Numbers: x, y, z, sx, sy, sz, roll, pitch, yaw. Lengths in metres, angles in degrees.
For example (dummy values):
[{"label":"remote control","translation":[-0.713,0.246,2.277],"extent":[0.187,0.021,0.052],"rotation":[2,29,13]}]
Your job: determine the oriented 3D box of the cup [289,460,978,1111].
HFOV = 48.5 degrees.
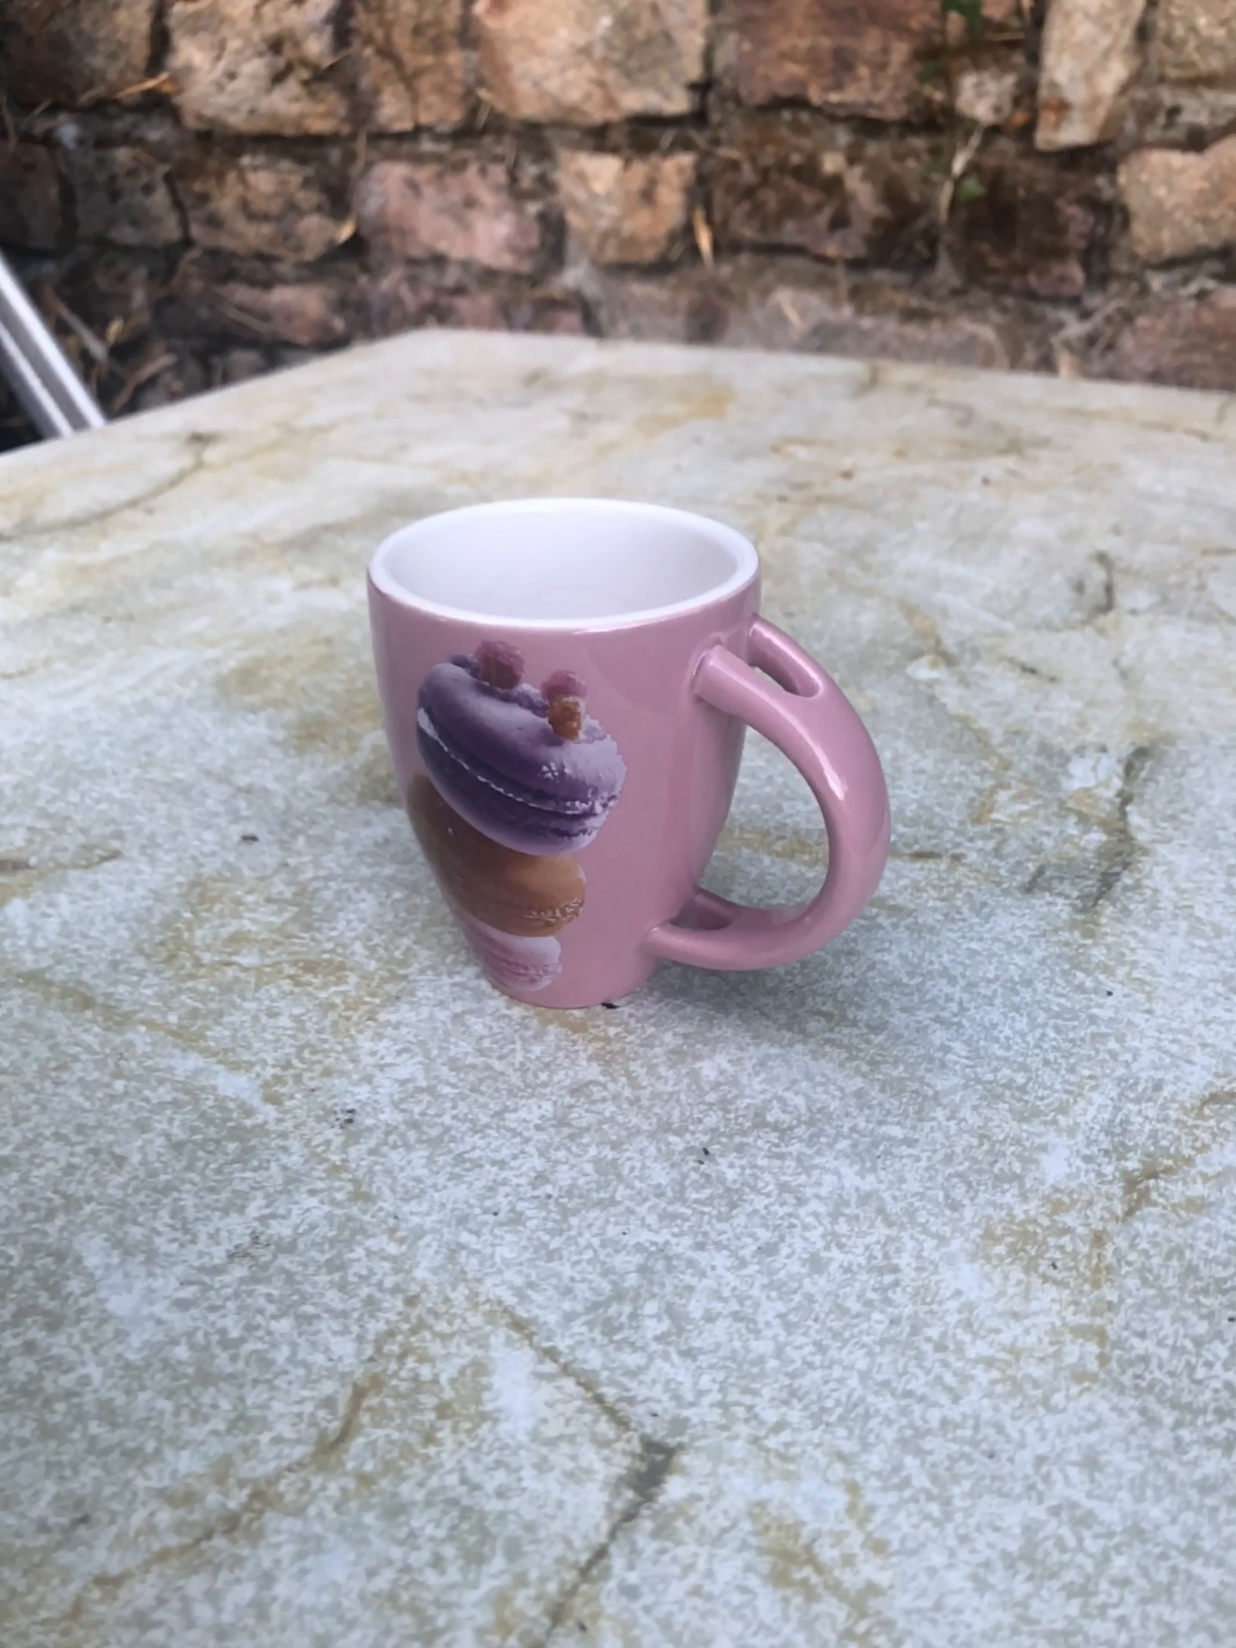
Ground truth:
[{"label":"cup","translation":[0.003,-0.016,0.273],"extent":[0.099,0.080,0.080],"rotation":[22,37,35]}]
